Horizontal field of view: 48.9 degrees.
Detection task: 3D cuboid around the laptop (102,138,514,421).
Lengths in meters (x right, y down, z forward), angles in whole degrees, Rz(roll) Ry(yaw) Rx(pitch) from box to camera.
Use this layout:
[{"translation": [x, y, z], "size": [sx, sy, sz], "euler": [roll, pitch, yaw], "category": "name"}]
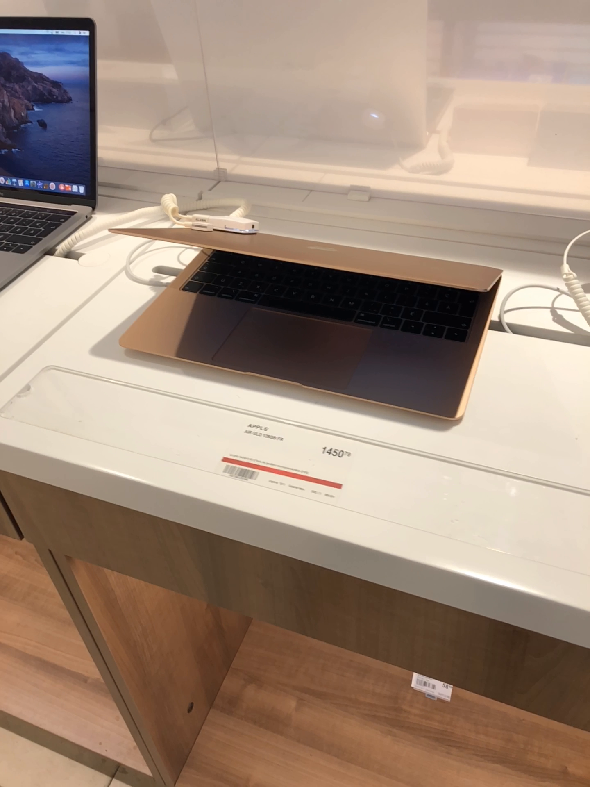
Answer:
[{"translation": [0.021, -0.123, 0.571], "size": [0.298, 0.104, 0.225], "euler": [13, 42, 21], "category": "laptop"}]
